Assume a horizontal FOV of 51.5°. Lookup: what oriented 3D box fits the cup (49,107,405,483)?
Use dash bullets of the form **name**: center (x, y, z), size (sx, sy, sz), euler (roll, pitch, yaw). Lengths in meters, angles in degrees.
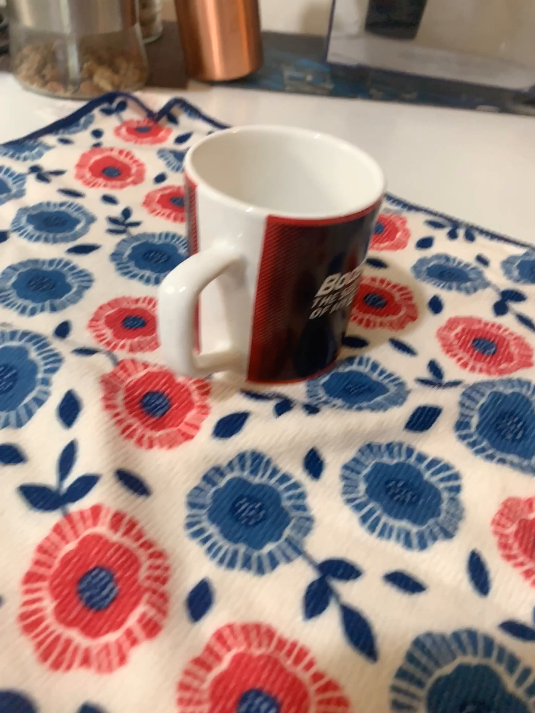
- **cup**: center (-0.011, -0.032, 0.227), size (0.080, 0.089, 0.111), euler (24, 45, 18)
